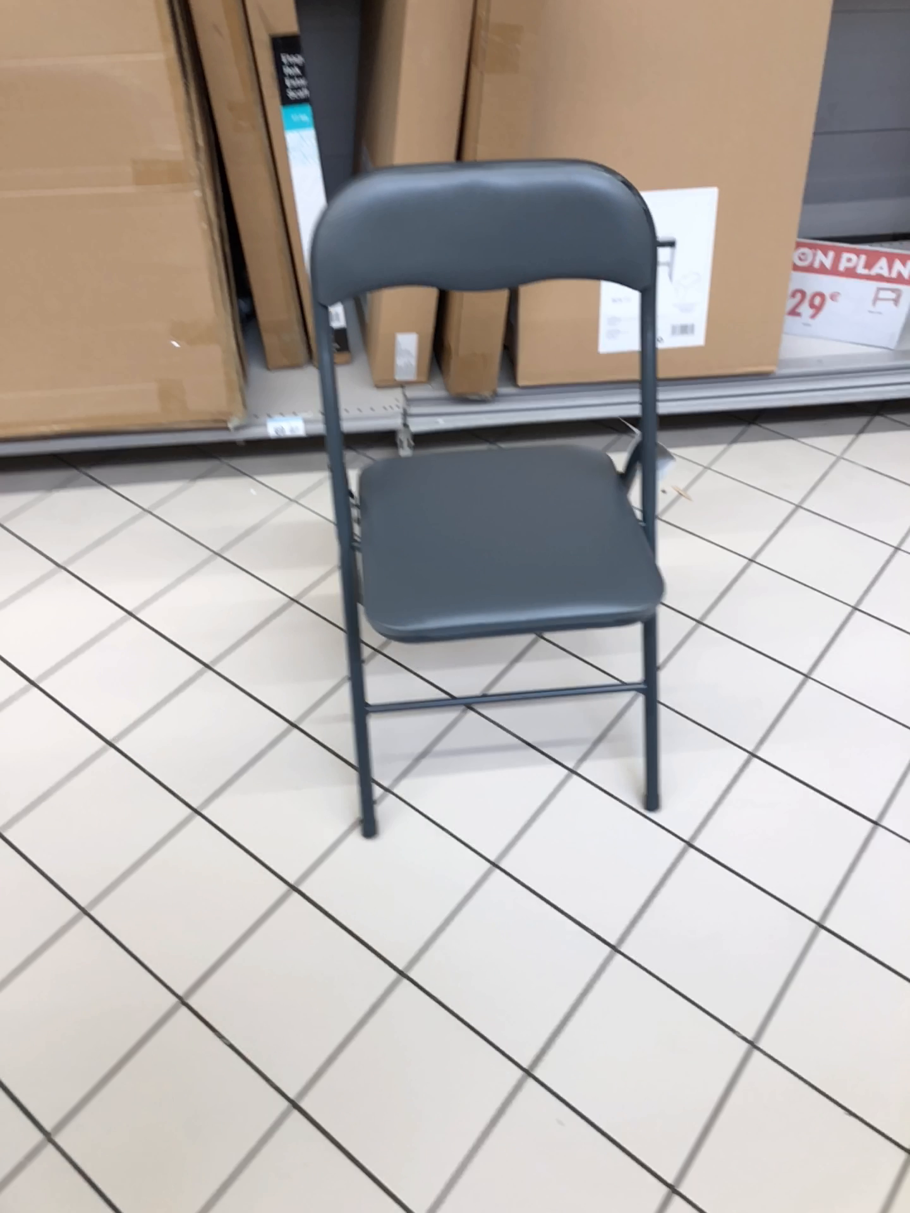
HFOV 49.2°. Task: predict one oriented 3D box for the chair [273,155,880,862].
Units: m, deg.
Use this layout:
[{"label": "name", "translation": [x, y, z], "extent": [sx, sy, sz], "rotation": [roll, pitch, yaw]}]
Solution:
[{"label": "chair", "translation": [0.078, -0.110, 1.324], "extent": [0.550, 0.755, 0.503], "rotation": [-4, 45, -6]}]
